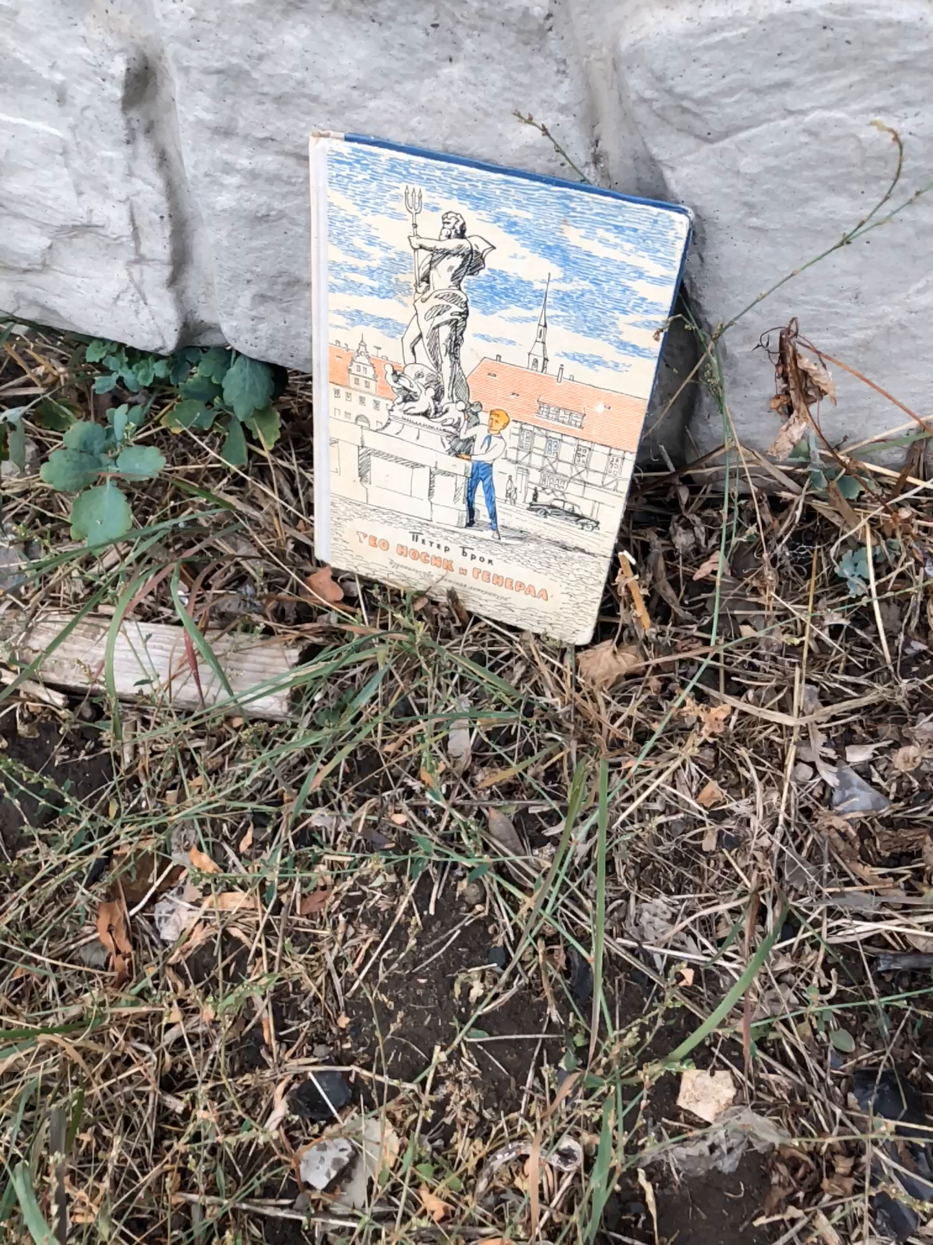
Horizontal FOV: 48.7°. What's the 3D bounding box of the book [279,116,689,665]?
[{"bbox_3d":[-0.001,-0.087,0.424,0.151,0.199,0.020,20,44,20],"label":"book"}]
